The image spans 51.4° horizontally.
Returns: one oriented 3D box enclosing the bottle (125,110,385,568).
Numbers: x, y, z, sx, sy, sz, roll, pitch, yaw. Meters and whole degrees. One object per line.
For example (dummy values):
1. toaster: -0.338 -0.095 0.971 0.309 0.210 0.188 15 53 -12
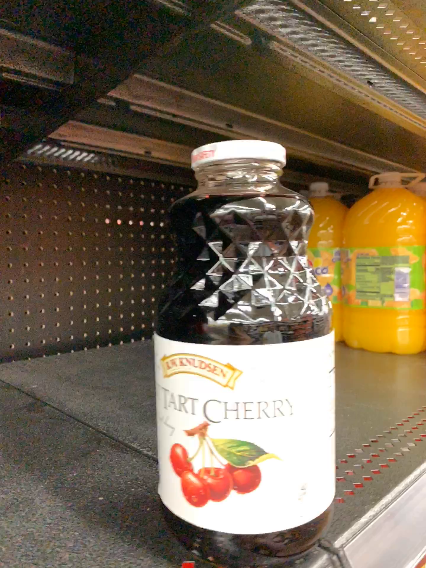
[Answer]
1. bottle: 0.029 0.030 0.243 0.100 0.200 0.110 0 4 0
